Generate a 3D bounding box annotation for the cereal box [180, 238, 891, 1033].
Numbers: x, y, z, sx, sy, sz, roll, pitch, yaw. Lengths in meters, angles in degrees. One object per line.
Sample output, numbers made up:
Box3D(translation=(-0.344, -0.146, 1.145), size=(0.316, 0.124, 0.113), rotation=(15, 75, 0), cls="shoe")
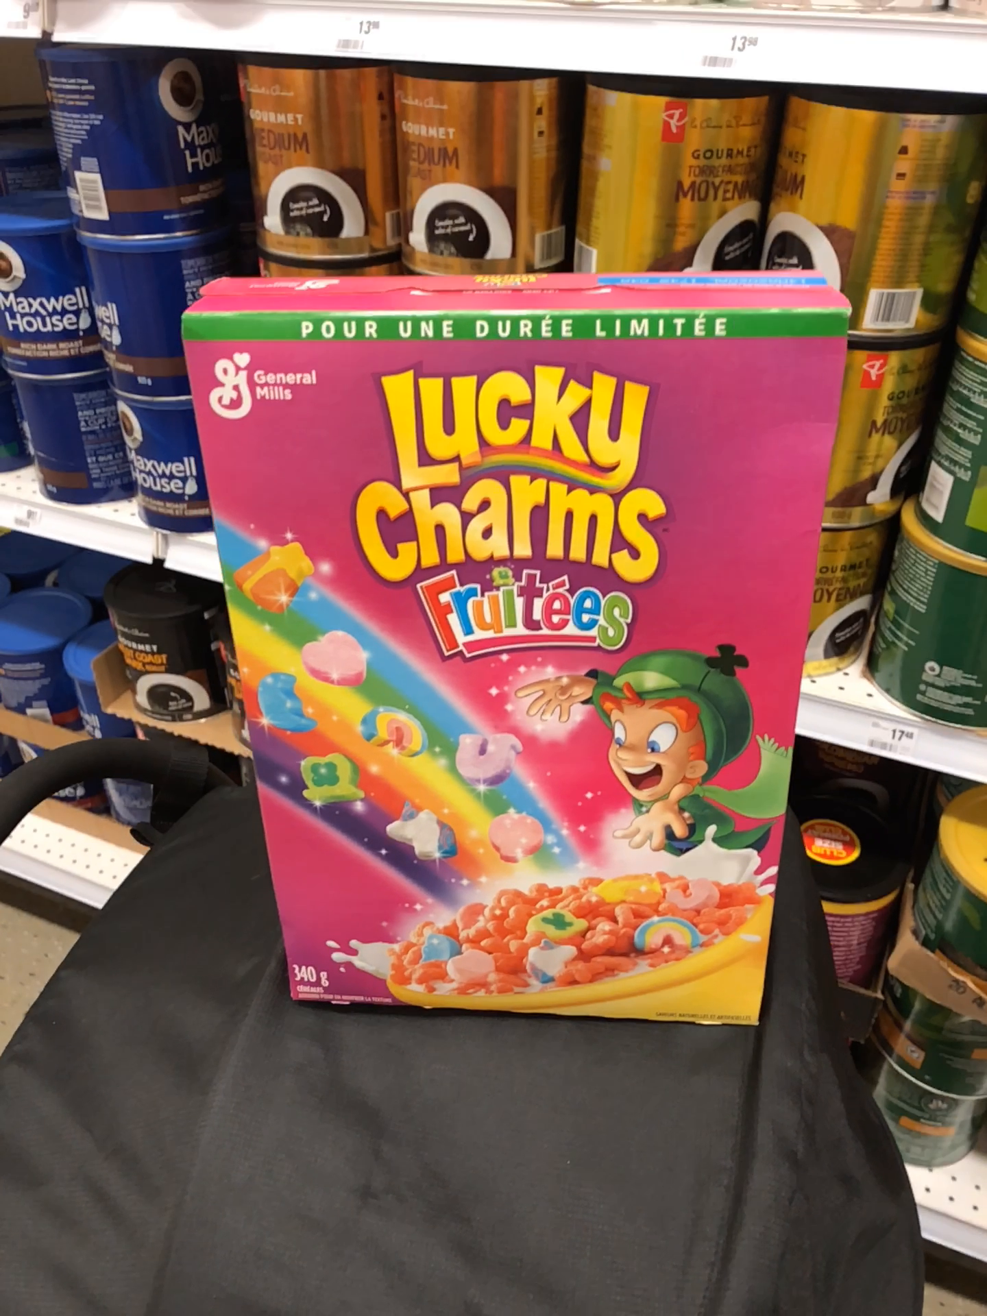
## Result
Box3D(translation=(0.012, 0.007, 0.409), size=(0.200, 0.299, 0.060), rotation=(2, 30, 4), cls="cereal box")
